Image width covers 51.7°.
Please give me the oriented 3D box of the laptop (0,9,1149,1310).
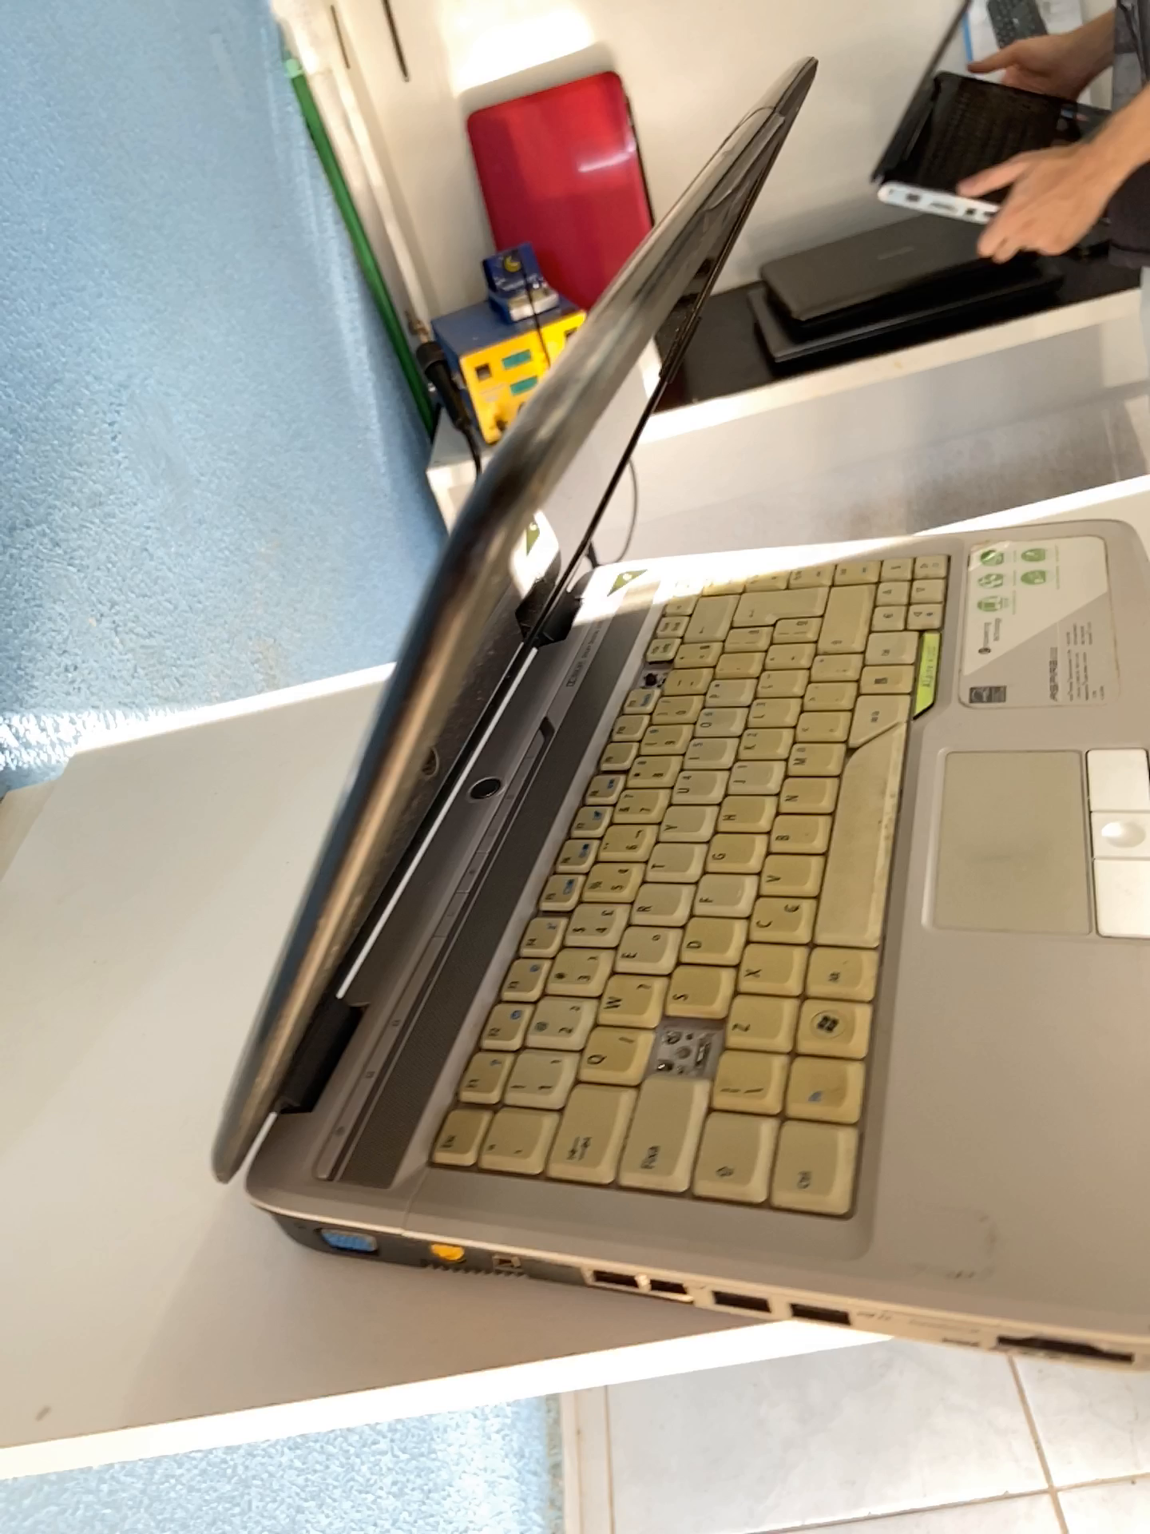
[{"bbox_3d":[0.042,-0.065,0.344,0.225,0.179,0.330,-2,38,22],"label":"laptop"}]
